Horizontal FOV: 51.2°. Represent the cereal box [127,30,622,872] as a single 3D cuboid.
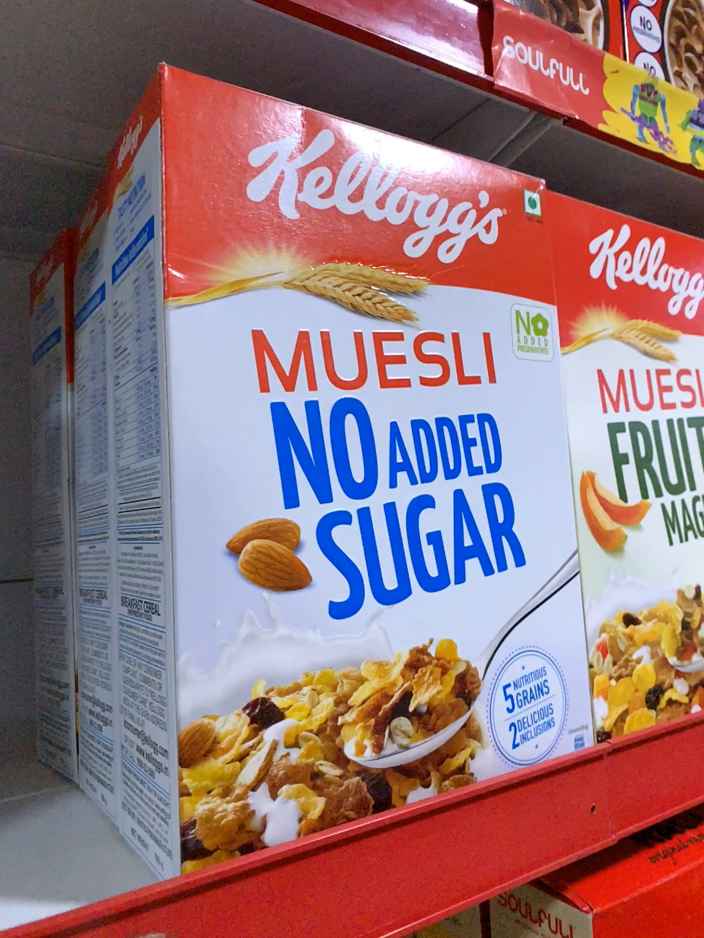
[{"bbox_3d":[0.014,-0.009,0.279,0.180,0.241,0.050,1,-7,-34],"label":"cereal box"}]
